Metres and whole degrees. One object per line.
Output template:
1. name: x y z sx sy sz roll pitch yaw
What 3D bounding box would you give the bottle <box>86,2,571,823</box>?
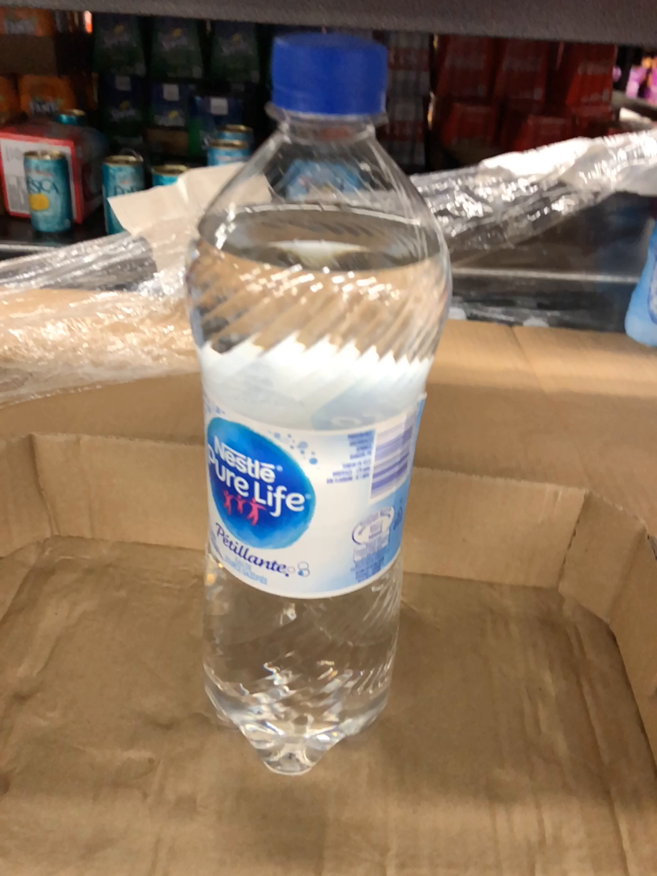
1. bottle: -0.006 -0.002 0.281 0.100 0.278 0.101 3 31 -2
